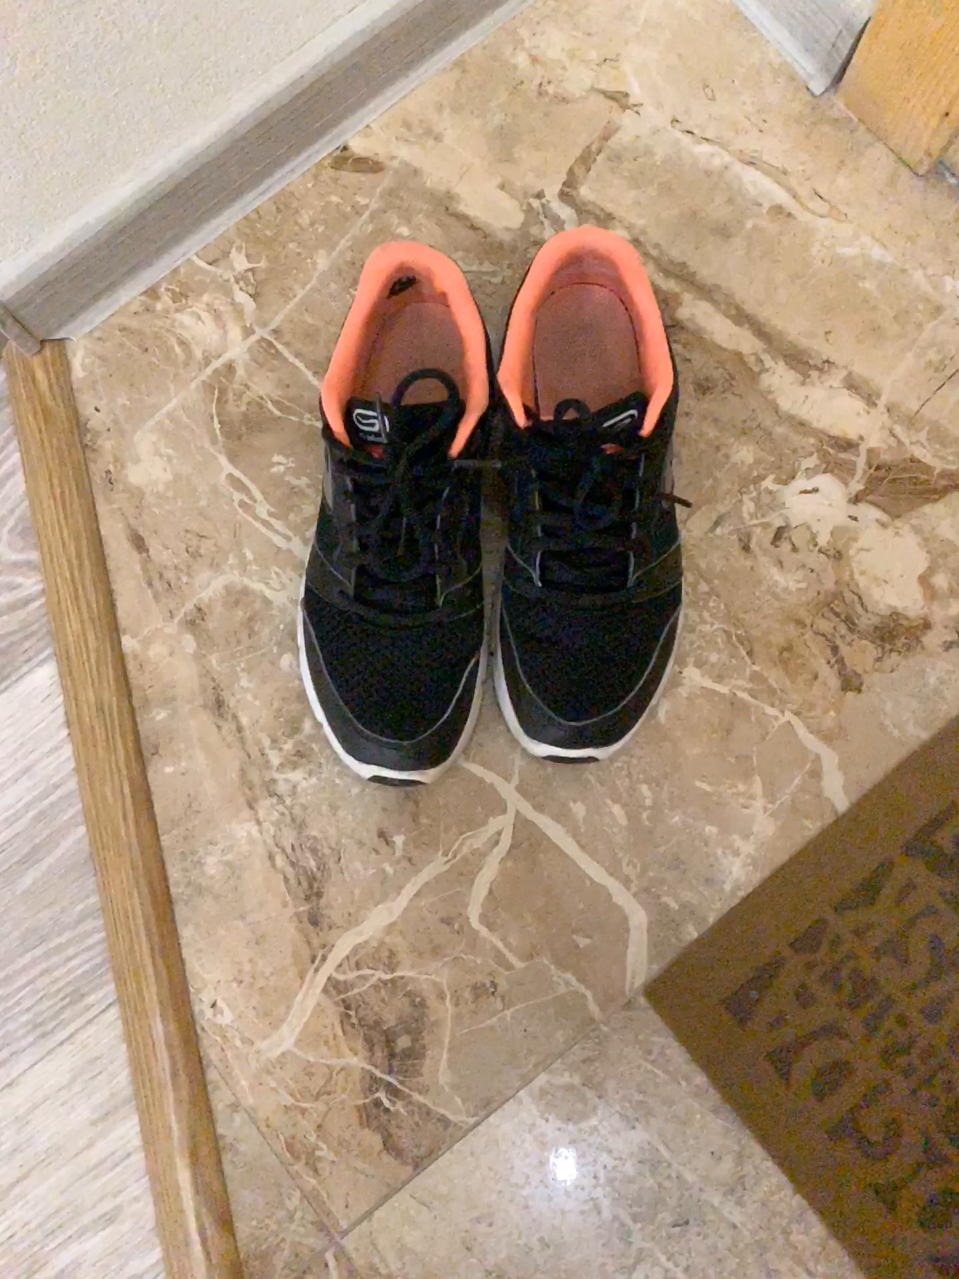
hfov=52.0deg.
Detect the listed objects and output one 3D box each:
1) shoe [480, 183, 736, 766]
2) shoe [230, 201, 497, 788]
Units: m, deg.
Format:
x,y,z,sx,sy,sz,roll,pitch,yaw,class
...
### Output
x,y,z,sx,sy,sz,roll,pitch,yaw,class
0.054,-0.068,0.453,0.100,0.100,0.244,1,81,1,shoe
-0.045,-0.059,0.458,0.100,0.100,0.250,1,81,1,shoe
